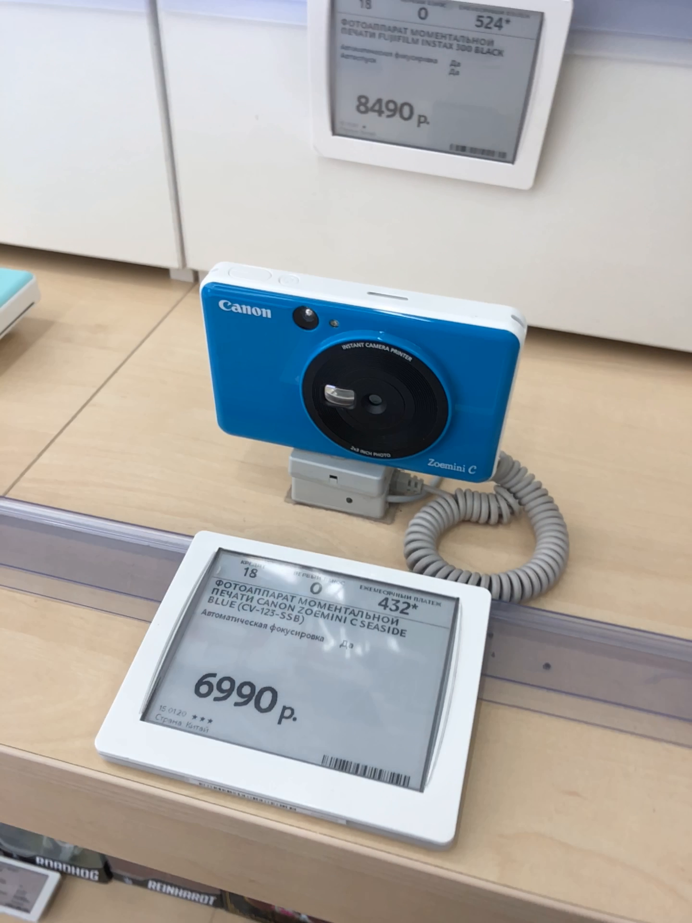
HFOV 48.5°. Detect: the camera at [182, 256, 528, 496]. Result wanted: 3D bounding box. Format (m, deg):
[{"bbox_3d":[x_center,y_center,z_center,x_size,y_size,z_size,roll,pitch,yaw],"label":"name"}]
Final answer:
[{"bbox_3d":[0.003,-0.032,0.295,0.119,0.072,0.025,11,46,11],"label":"camera"}]
